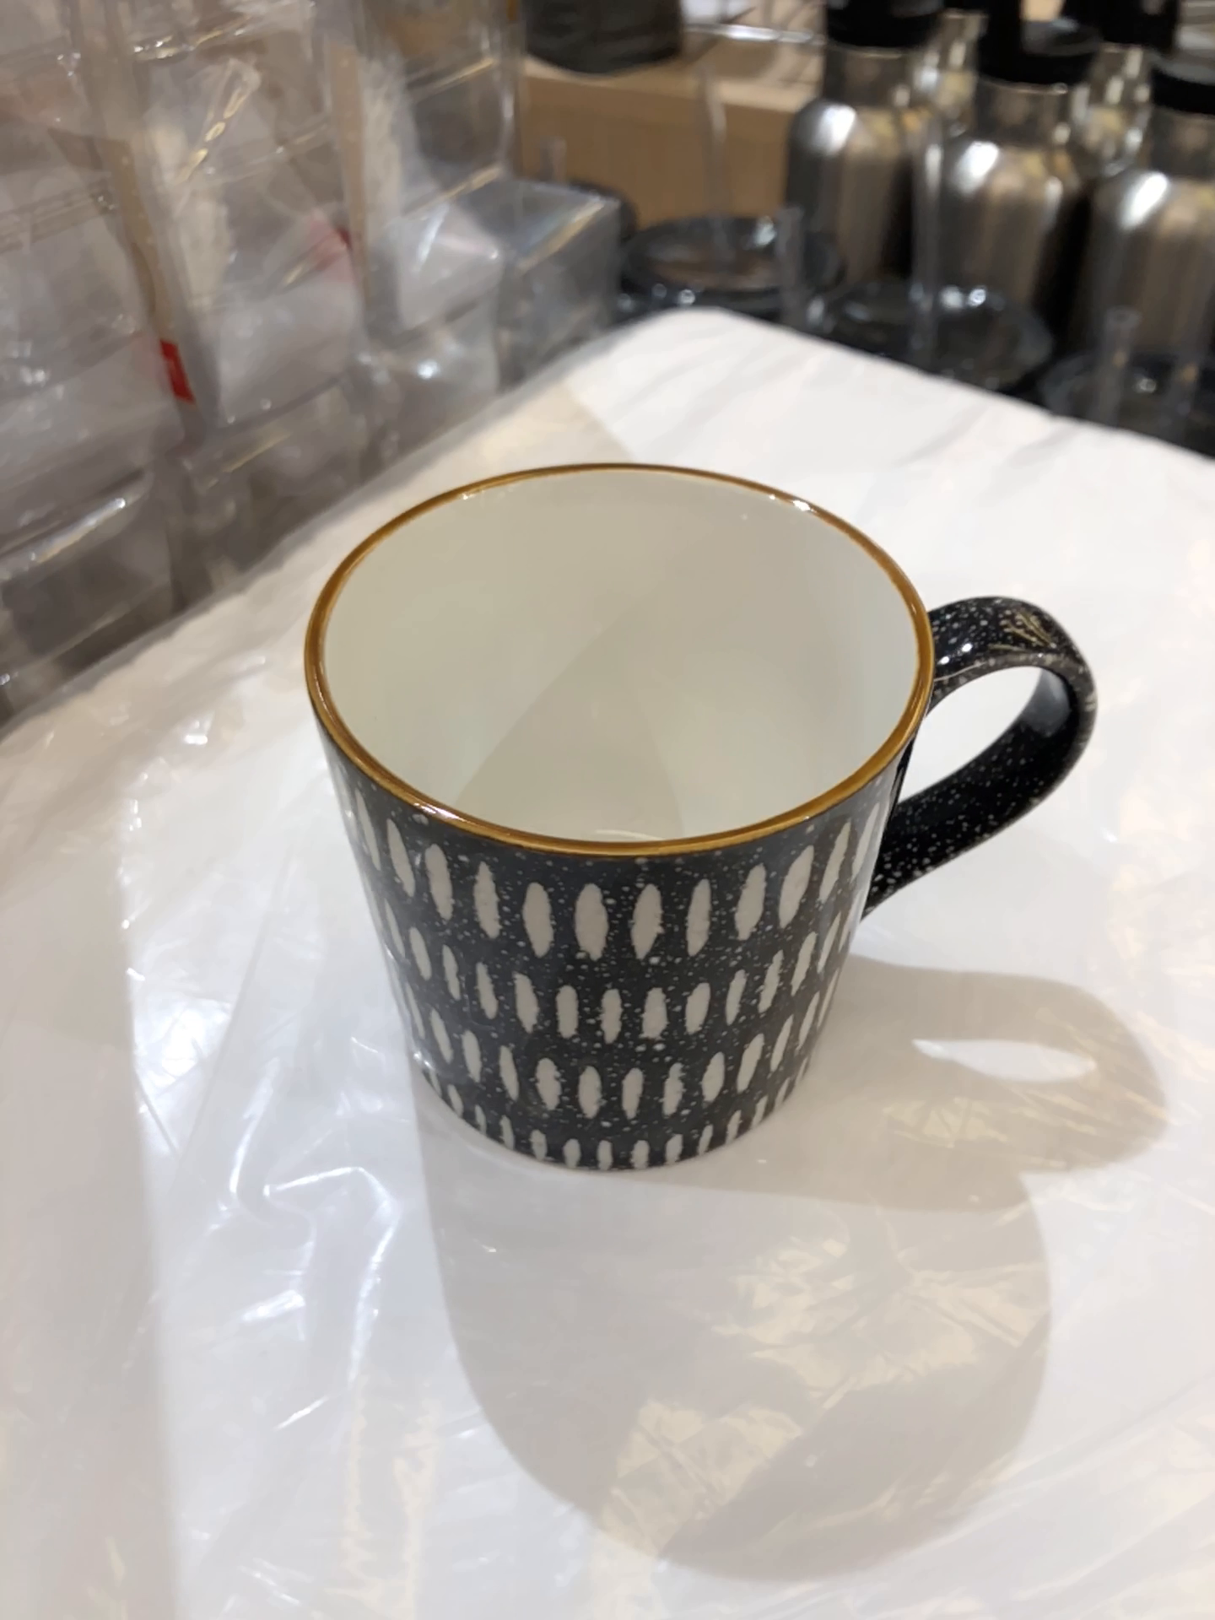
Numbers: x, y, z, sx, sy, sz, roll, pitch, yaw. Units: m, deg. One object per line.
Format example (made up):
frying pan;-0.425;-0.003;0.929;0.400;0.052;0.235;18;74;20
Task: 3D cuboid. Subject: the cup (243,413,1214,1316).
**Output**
cup;0.013;0.004;0.200;0.110;0.079;0.080;-10;44;-10
